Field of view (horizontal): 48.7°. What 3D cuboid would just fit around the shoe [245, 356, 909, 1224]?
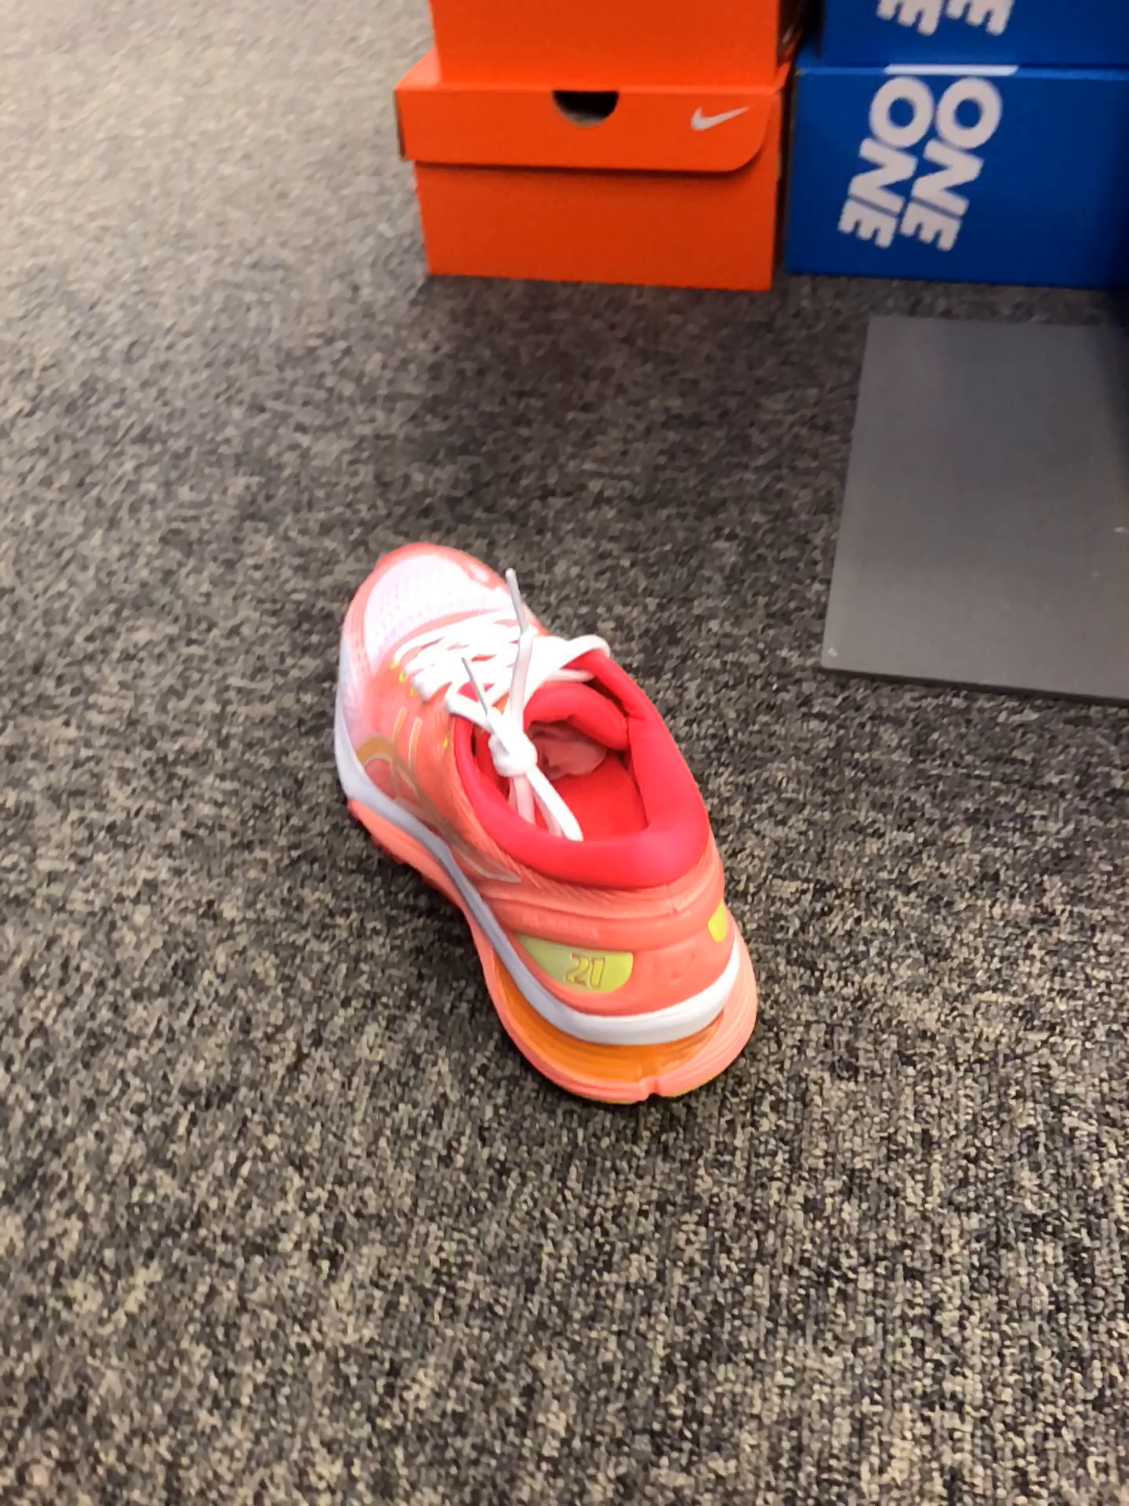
[{"bbox_3d":[-0.013,-0.007,0.430,0.107,0.129,0.269,-19,47,-14],"label":"shoe"}]
